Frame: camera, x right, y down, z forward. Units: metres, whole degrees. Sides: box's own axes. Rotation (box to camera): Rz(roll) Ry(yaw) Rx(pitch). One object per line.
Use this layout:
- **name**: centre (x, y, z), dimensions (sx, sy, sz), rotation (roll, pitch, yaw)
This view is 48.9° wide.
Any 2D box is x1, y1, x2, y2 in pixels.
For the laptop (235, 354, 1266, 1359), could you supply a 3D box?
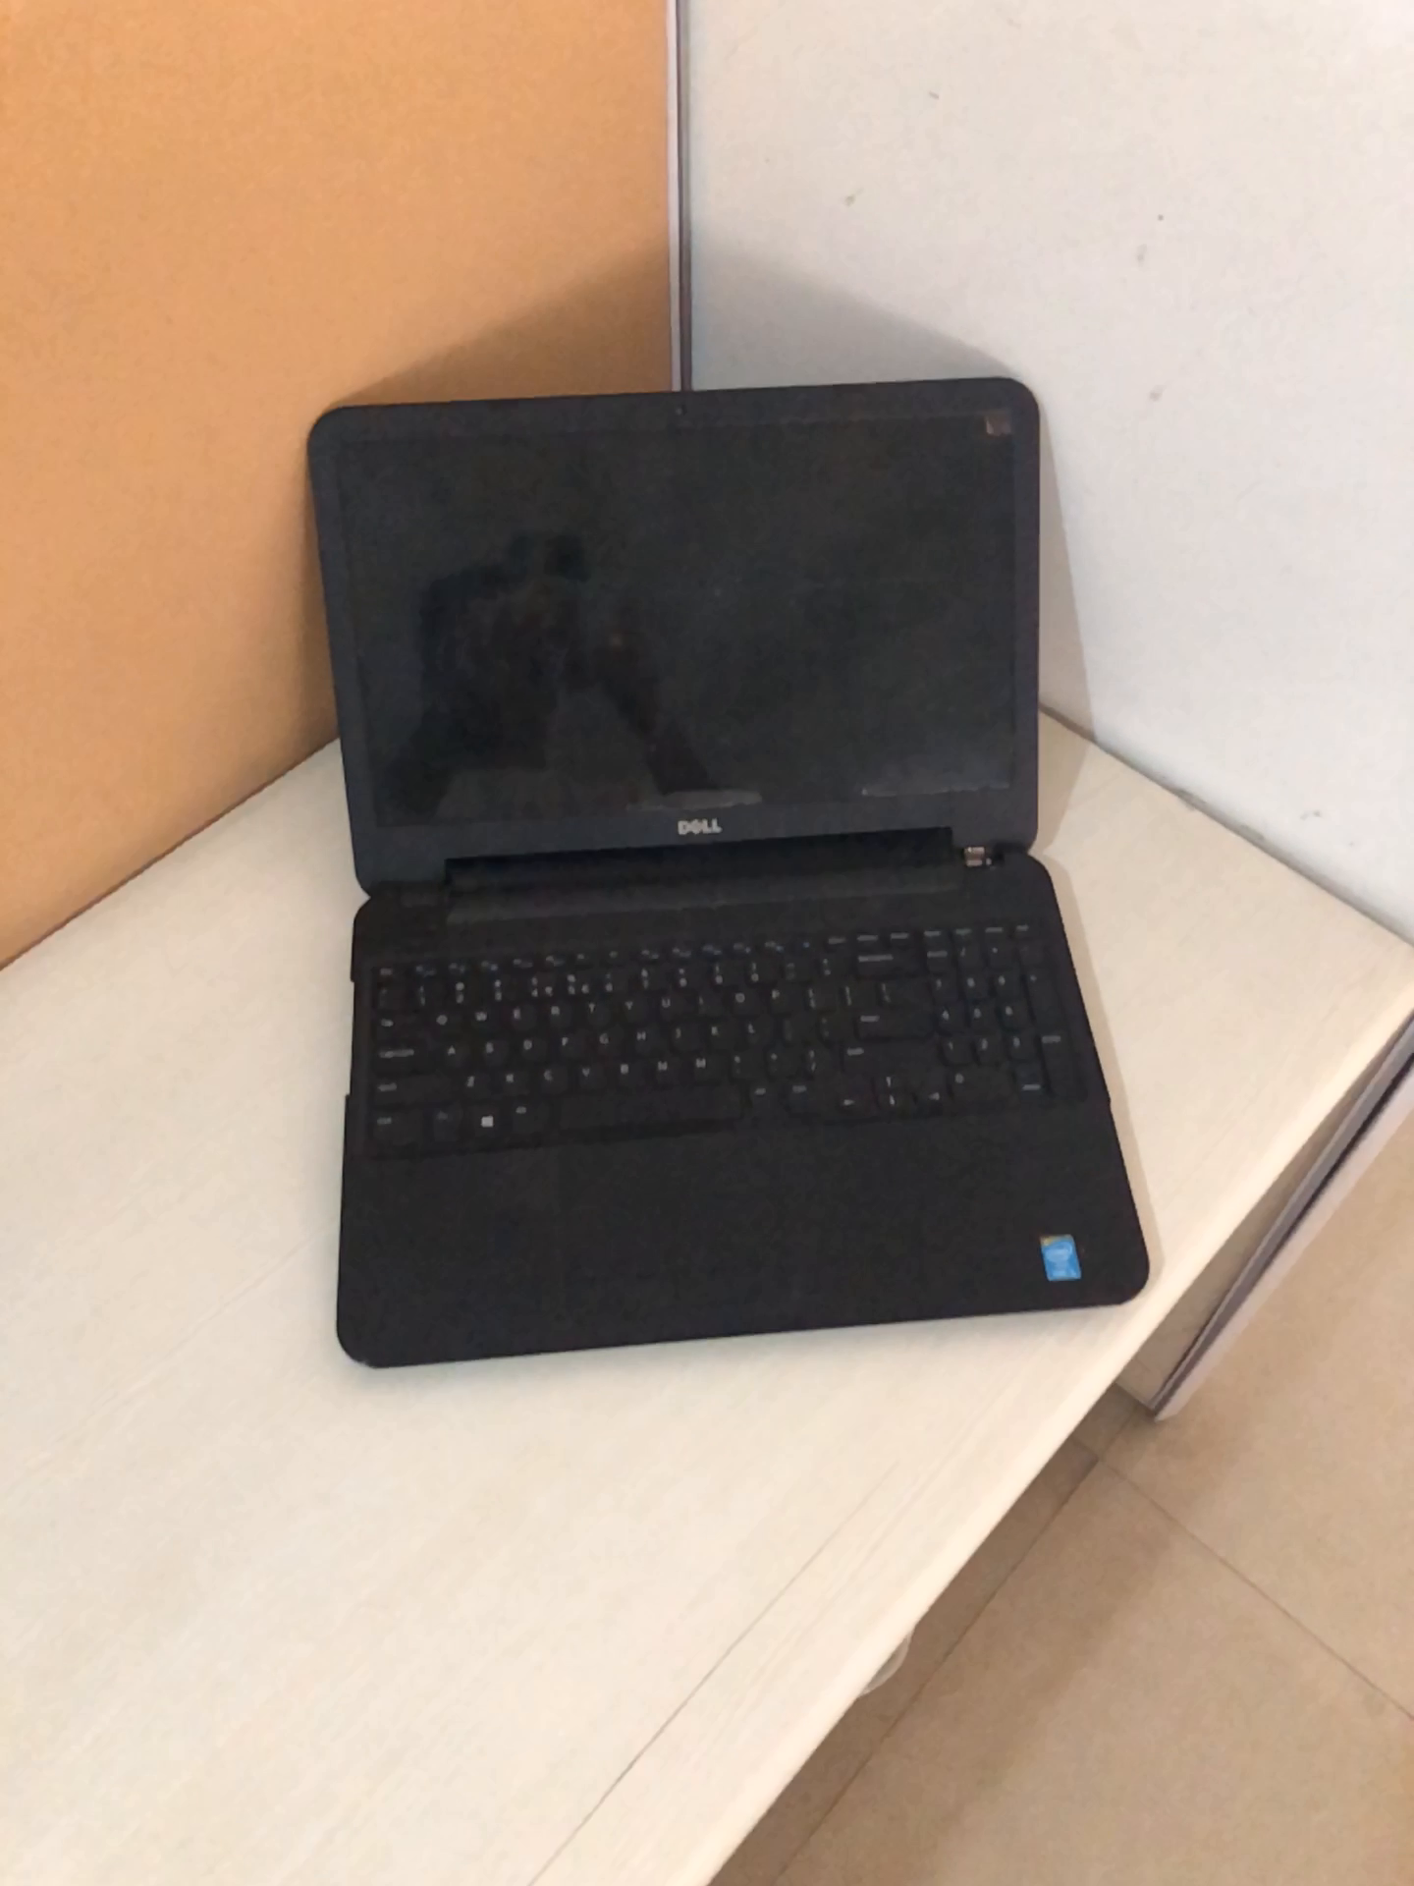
- **laptop**: centre (-0.001, -0.056, 0.713), dimensions (0.352, 0.175, 0.415), rotation (-4, 56, -3)
